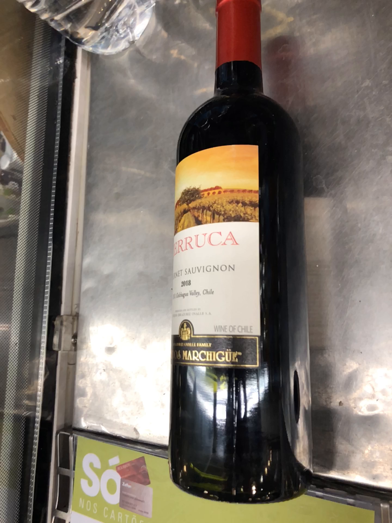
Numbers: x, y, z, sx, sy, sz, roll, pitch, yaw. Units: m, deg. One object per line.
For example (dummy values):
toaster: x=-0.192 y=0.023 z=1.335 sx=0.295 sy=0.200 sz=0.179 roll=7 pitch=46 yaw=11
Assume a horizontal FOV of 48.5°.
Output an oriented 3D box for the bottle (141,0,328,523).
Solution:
bottle: x=0.019 y=-0.039 z=0.246 sx=0.080 sy=0.050 sz=0.310 roll=-6 pitch=79 yaw=34
